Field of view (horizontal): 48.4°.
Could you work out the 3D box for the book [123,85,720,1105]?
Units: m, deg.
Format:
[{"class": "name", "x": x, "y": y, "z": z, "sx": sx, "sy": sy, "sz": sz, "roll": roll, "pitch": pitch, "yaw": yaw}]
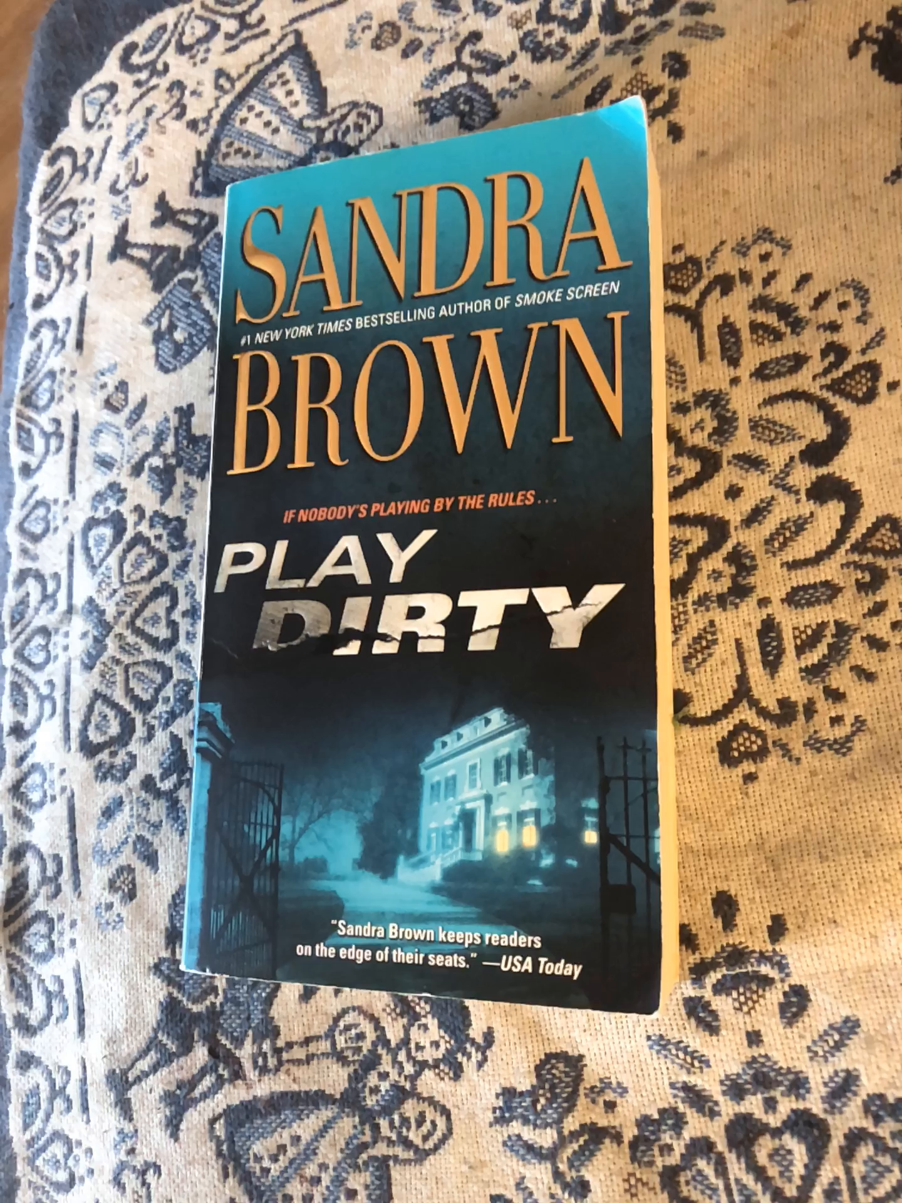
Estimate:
[{"class": "book", "x": -0.006, "y": -0.003, "z": 0.211, "sx": 0.110, "sy": 0.040, "sz": 0.180, "roll": -3, "pitch": 80, "yaw": 19}]
